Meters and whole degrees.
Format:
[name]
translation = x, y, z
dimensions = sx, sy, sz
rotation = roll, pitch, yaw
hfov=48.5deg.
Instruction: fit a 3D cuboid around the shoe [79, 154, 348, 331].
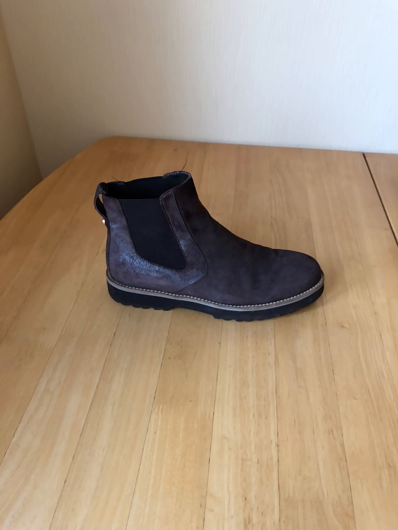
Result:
[shoe]
translation = 0.015, -0.025, 0.436
dimensions = 0.220, 0.120, 0.100
rotation = 6, 40, 6
